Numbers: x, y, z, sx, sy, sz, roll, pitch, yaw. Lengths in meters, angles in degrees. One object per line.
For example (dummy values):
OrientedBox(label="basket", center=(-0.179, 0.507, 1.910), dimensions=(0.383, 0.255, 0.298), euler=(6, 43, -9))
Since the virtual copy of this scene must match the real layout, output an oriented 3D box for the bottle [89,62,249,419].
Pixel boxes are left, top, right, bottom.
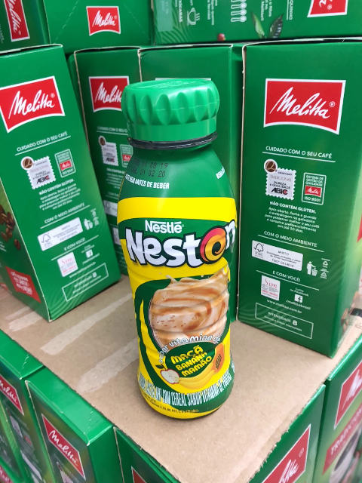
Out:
OrientedBox(label="bottle", center=(0.001, 0.005, 0.216), dimensions=(0.060, 0.179, 0.060), euler=(-3, 25, 1))
